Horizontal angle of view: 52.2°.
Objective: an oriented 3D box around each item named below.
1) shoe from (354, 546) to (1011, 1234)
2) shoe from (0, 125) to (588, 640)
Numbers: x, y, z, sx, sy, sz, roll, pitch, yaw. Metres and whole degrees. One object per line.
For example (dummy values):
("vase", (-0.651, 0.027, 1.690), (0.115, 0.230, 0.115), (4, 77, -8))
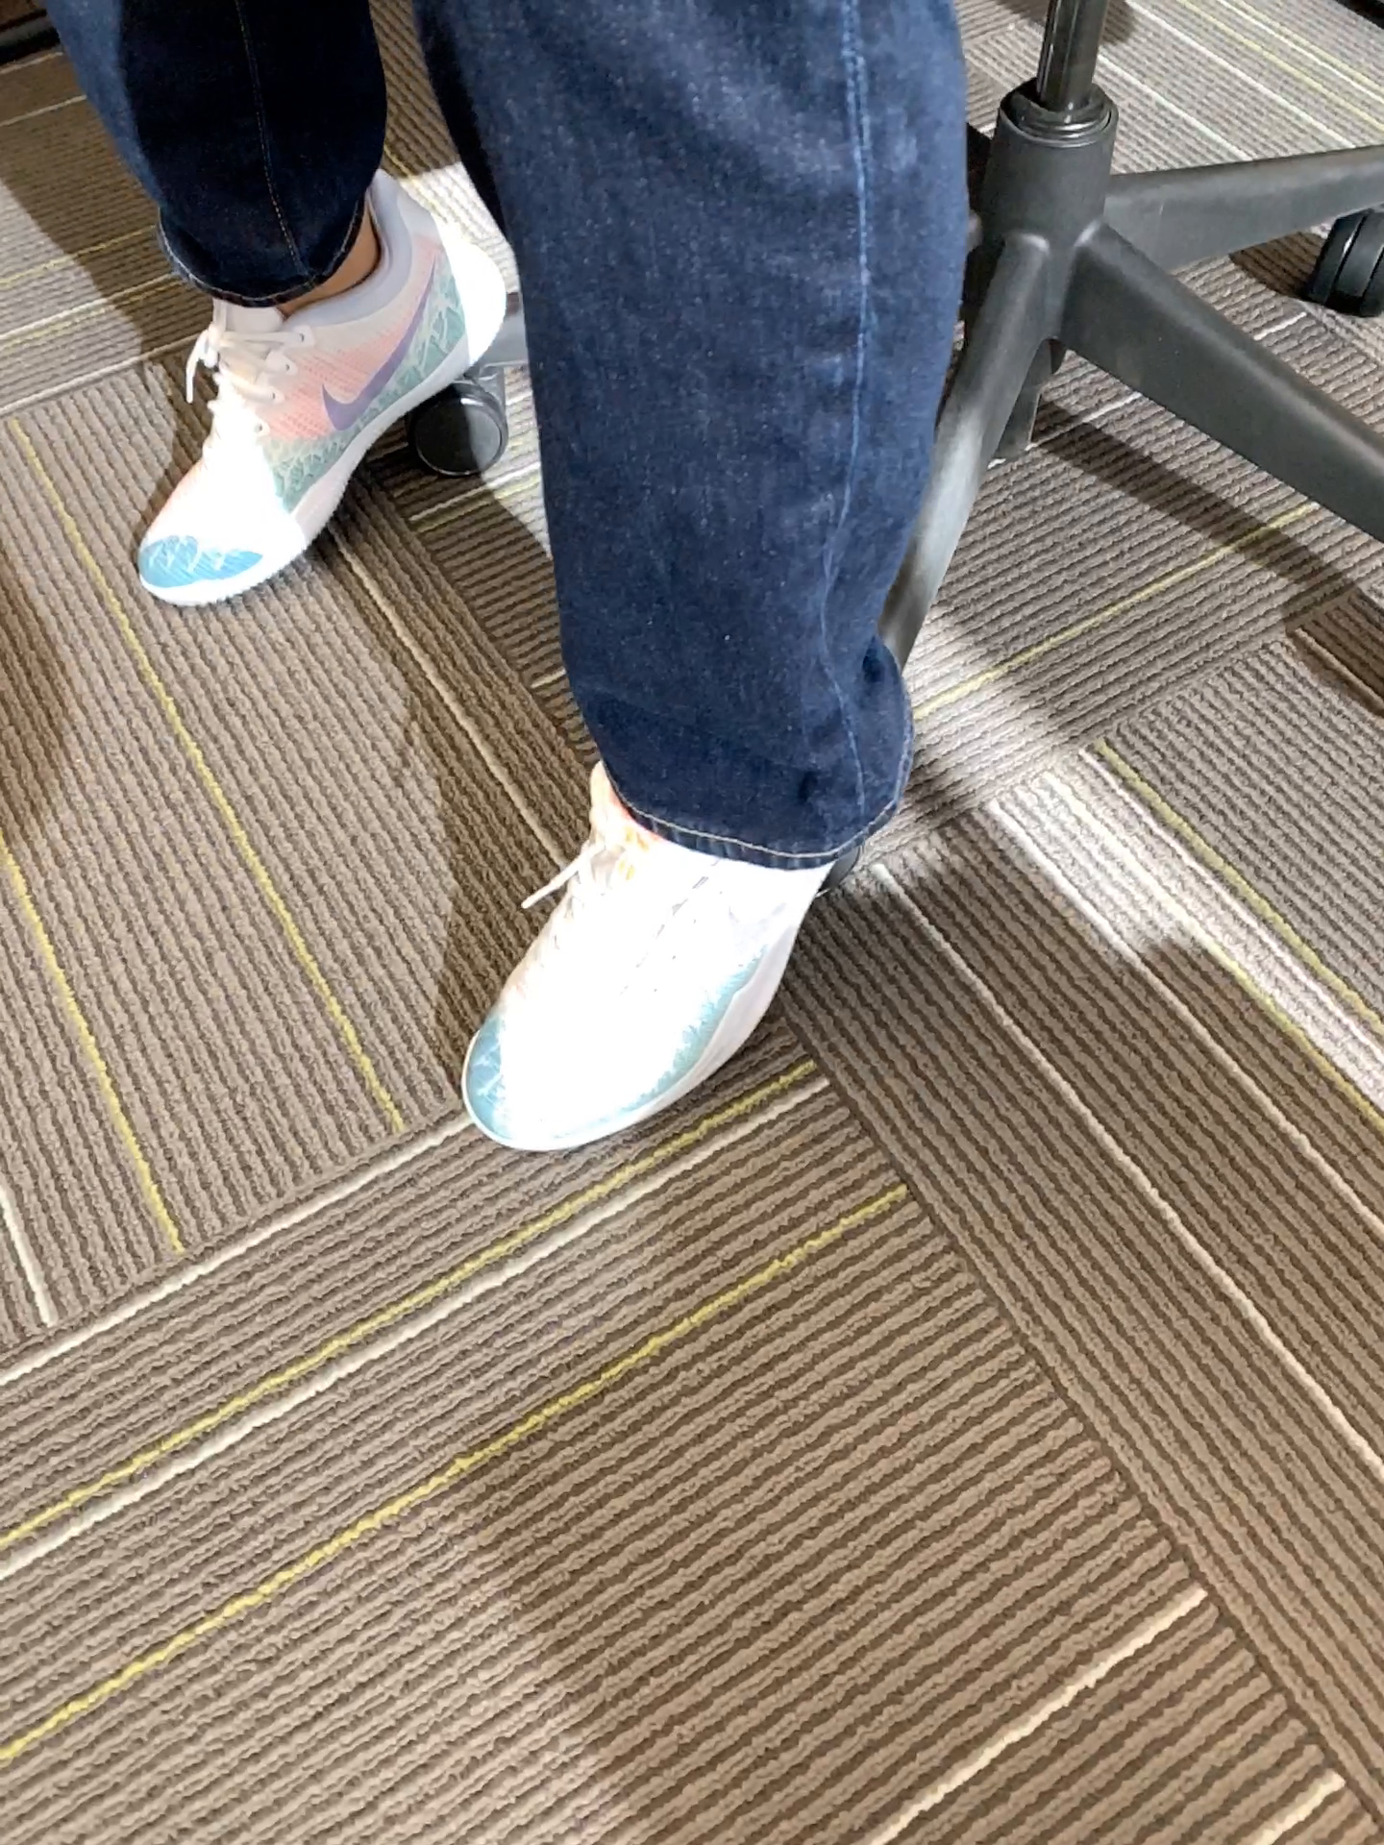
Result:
("shoe", (0.006, -0.015, 0.676), (0.113, 0.109, 0.310), (39, 79, 22))
("shoe", (-0.222, -0.316, 0.826), (0.302, 0.109, 0.107), (-38, 65, -11))
